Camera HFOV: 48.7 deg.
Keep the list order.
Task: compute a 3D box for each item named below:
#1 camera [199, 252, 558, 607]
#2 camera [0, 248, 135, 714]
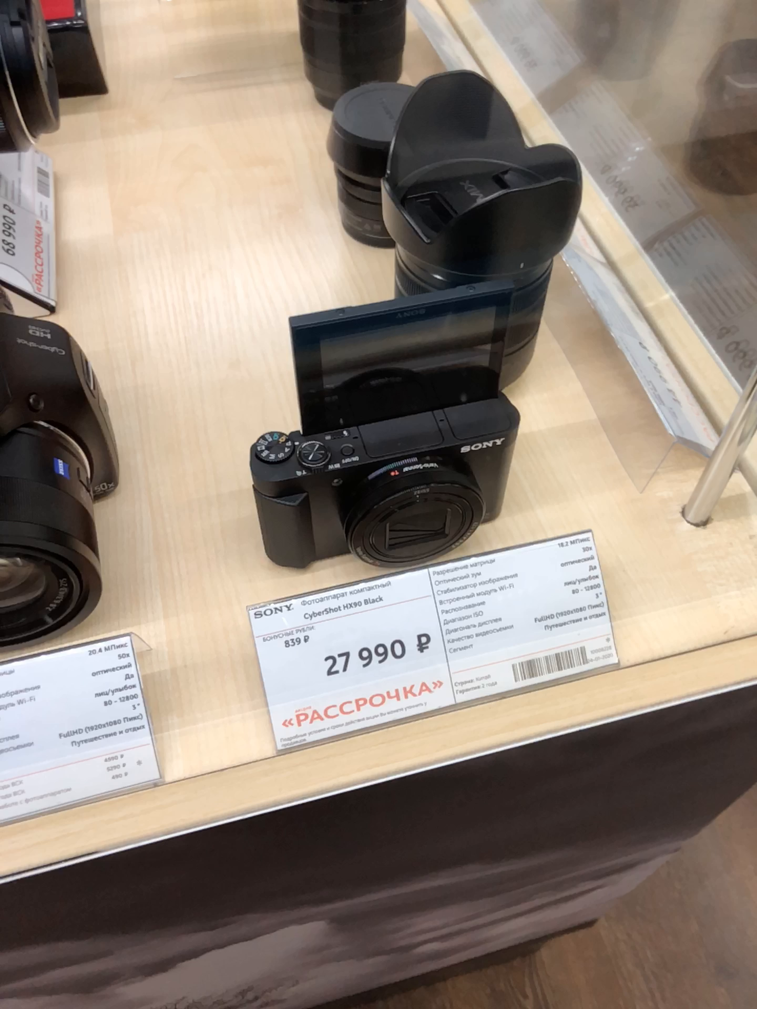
[{"bbox_3d":[-0.002,-0.022,0.298,0.100,0.107,0.050,-12,55,-9],"label":"camera"},{"bbox_3d":[-0.175,-0.014,0.320,0.132,0.078,0.136,-12,54,-9],"label":"camera"}]
